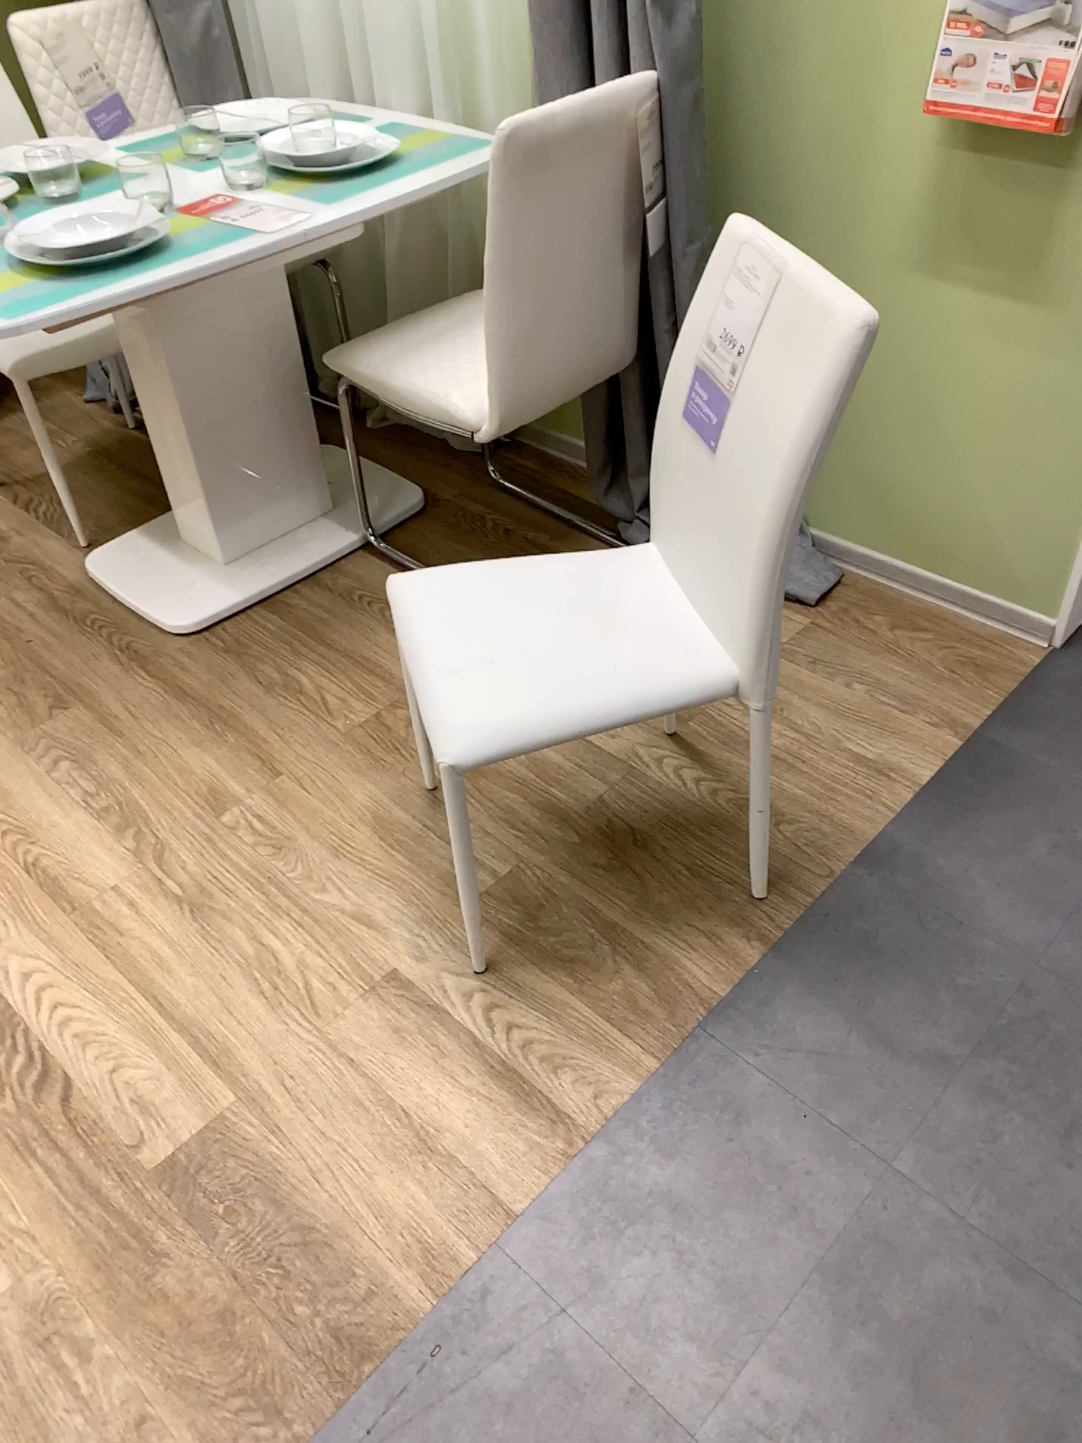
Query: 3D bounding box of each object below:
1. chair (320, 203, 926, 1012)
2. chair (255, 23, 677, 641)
[{"bbox_3d":[0.082,-0.121,1.520,0.550,0.925,0.452,-12,42,-9],"label":"chair"},{"bbox_3d":[-0.107,-0.752,2.168,0.562,0.945,0.451,32,53,33],"label":"chair"}]
